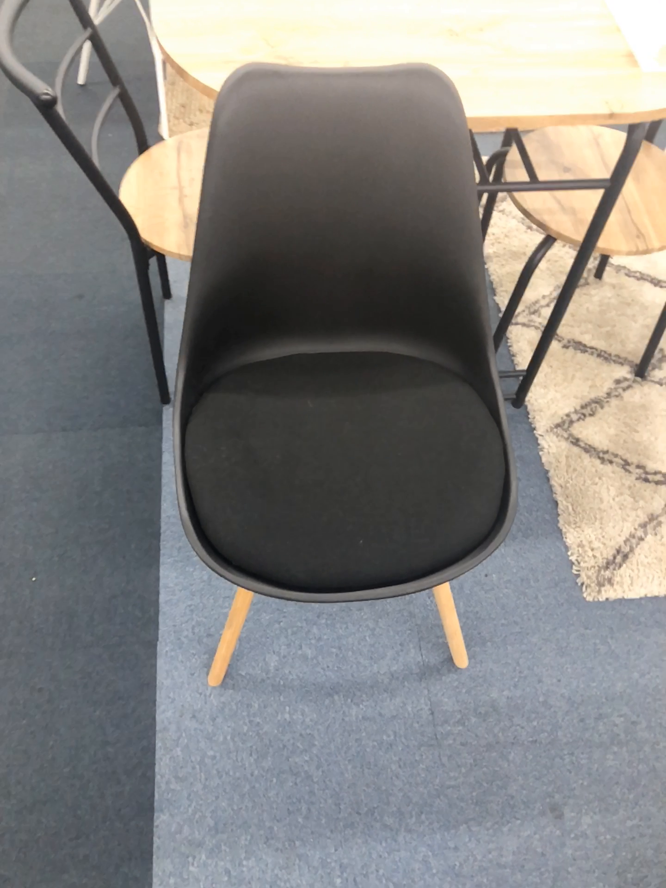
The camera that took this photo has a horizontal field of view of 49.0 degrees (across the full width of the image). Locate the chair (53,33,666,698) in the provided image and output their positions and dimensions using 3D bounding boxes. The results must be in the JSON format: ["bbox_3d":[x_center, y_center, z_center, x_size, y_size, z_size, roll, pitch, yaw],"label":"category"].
[{"bbox_3d":[-0.002,-0.021,1.048,0.490,0.858,0.501,-3,57,-5],"label":"chair"}]
